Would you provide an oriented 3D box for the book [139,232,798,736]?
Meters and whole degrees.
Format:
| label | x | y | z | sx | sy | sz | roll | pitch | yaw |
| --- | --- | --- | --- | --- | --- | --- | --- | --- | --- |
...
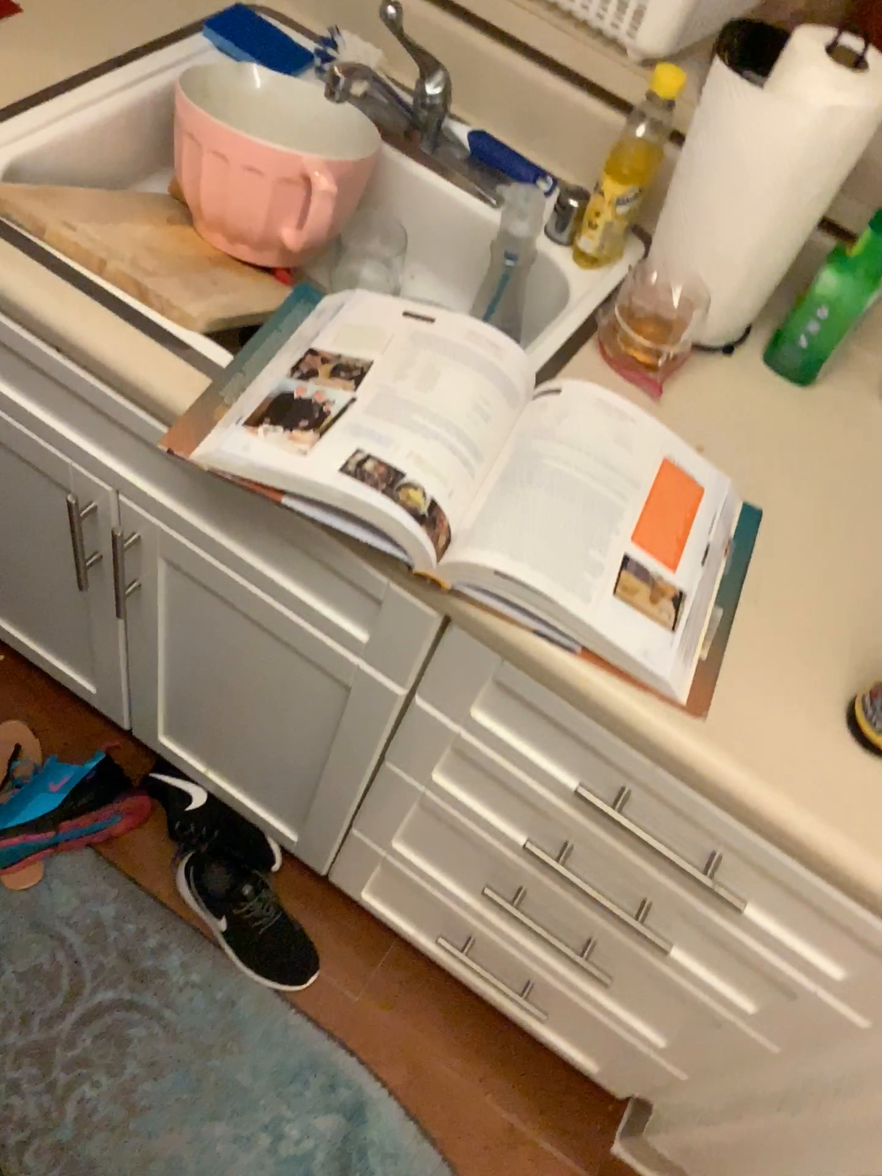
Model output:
| label | x | y | z | sx | sy | sz | roll | pitch | yaw |
| --- | --- | --- | --- | --- | --- | --- | --- | --- | --- |
| book | 0.048 | -0.117 | 0.881 | 0.530 | 0.040 | 0.310 | 26 | 53 | 2 |
